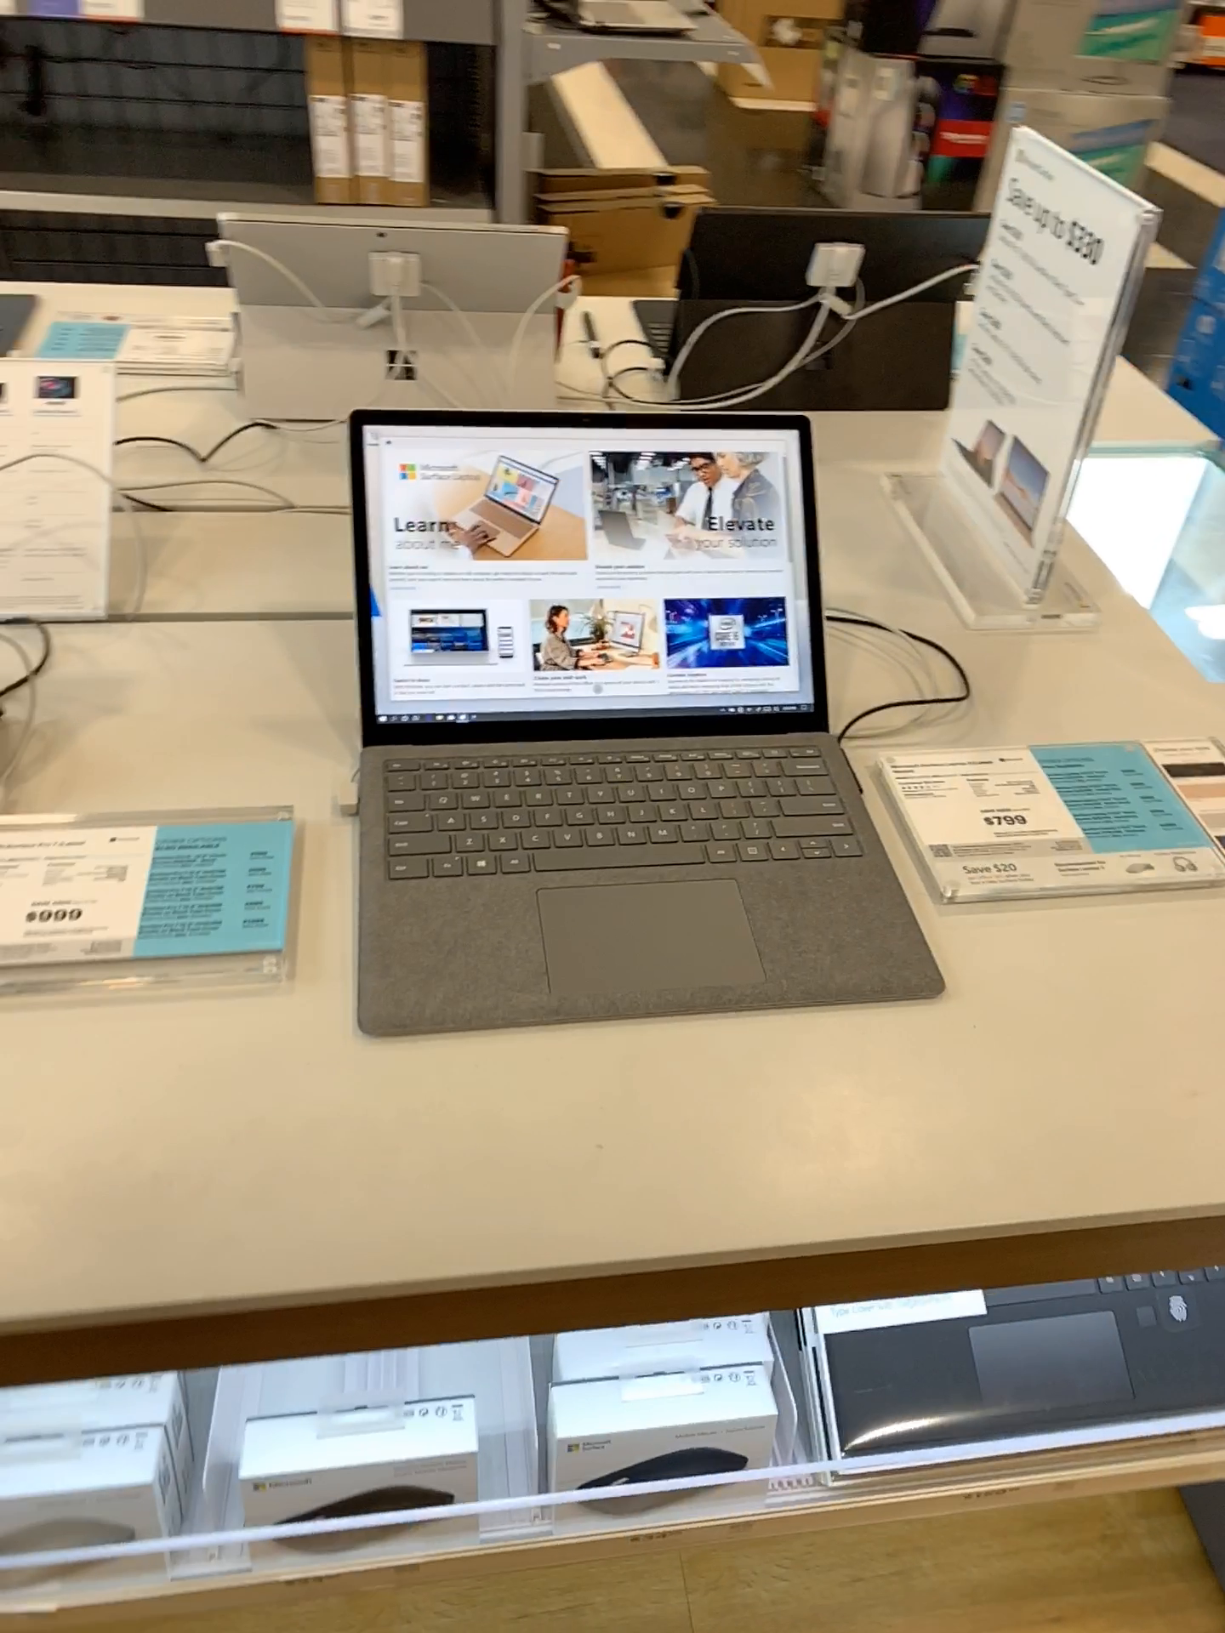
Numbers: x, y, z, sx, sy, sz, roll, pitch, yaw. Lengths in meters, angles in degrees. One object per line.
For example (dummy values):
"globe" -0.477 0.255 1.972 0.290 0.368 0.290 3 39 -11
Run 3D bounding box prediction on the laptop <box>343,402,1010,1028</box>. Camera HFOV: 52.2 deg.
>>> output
"laptop" 0.003 -0.086 0.727 0.296 0.148 0.376 -2 42 -9
